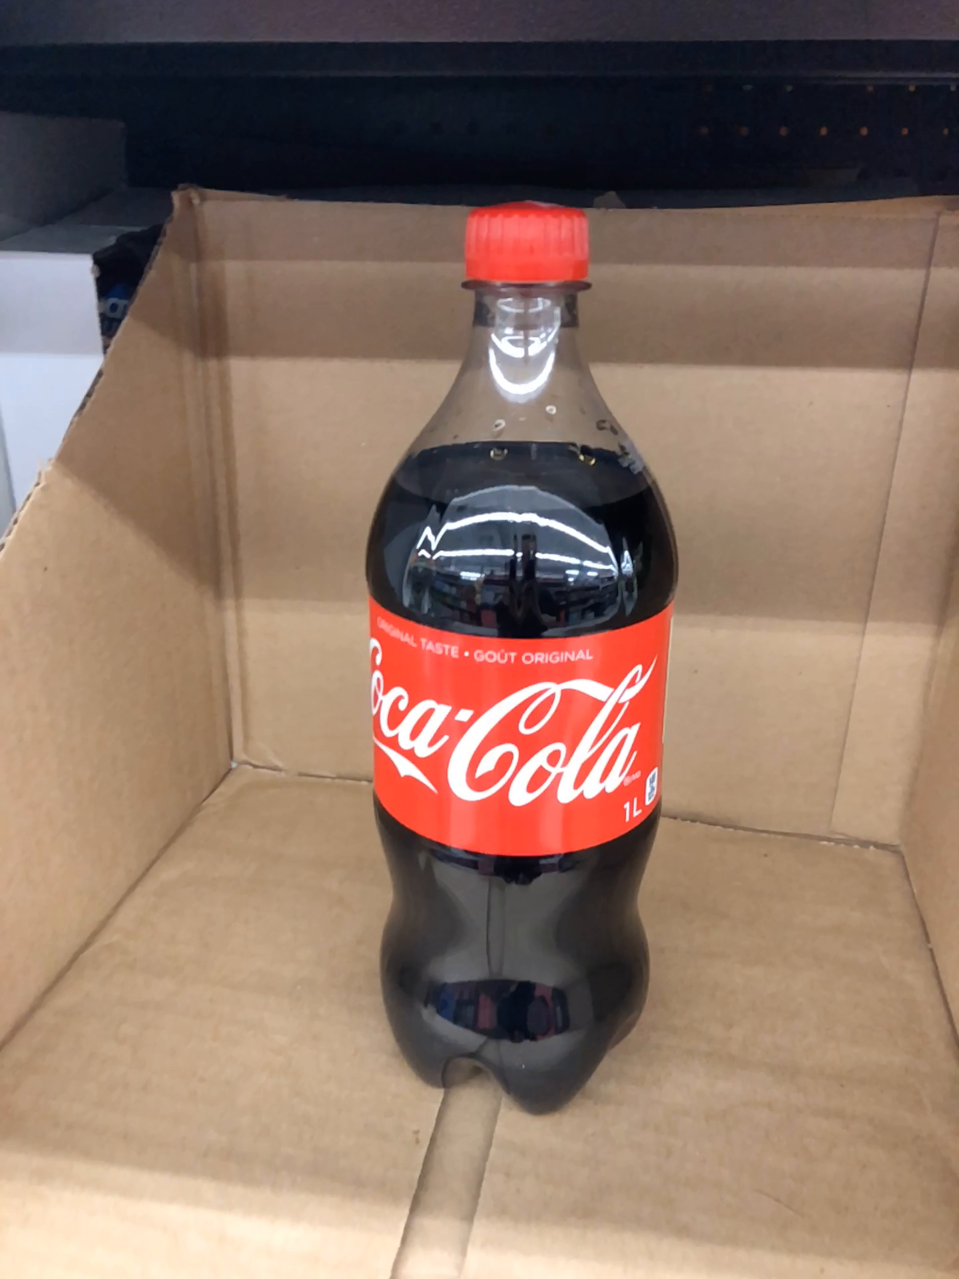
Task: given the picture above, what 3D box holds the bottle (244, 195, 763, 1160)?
[{"bbox_3d":[0.010,0.010,0.305,0.100,0.248,0.091,9,26,19],"label":"bottle"}]
